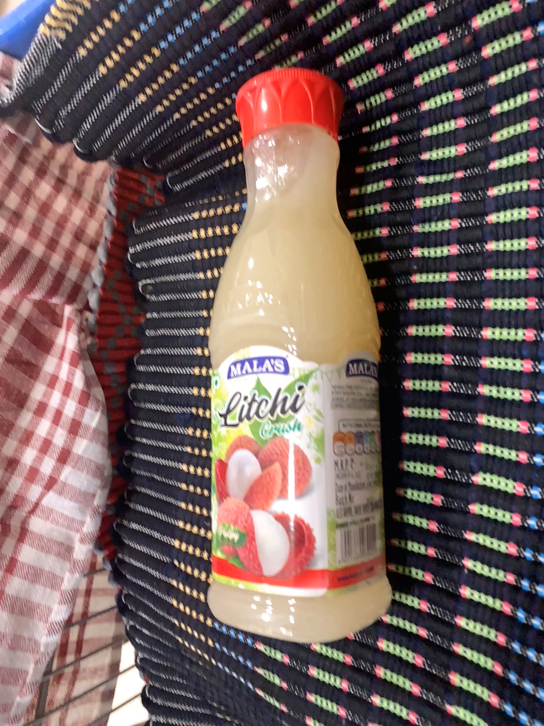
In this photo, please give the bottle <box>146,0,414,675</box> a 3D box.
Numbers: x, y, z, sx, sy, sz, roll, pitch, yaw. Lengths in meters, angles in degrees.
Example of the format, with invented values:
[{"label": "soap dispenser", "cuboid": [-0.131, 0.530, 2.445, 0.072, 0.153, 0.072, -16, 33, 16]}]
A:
[{"label": "bottle", "cuboid": [0.003, -0.024, 0.248, 0.080, 0.080, 0.260, -6, 83, 37]}]
